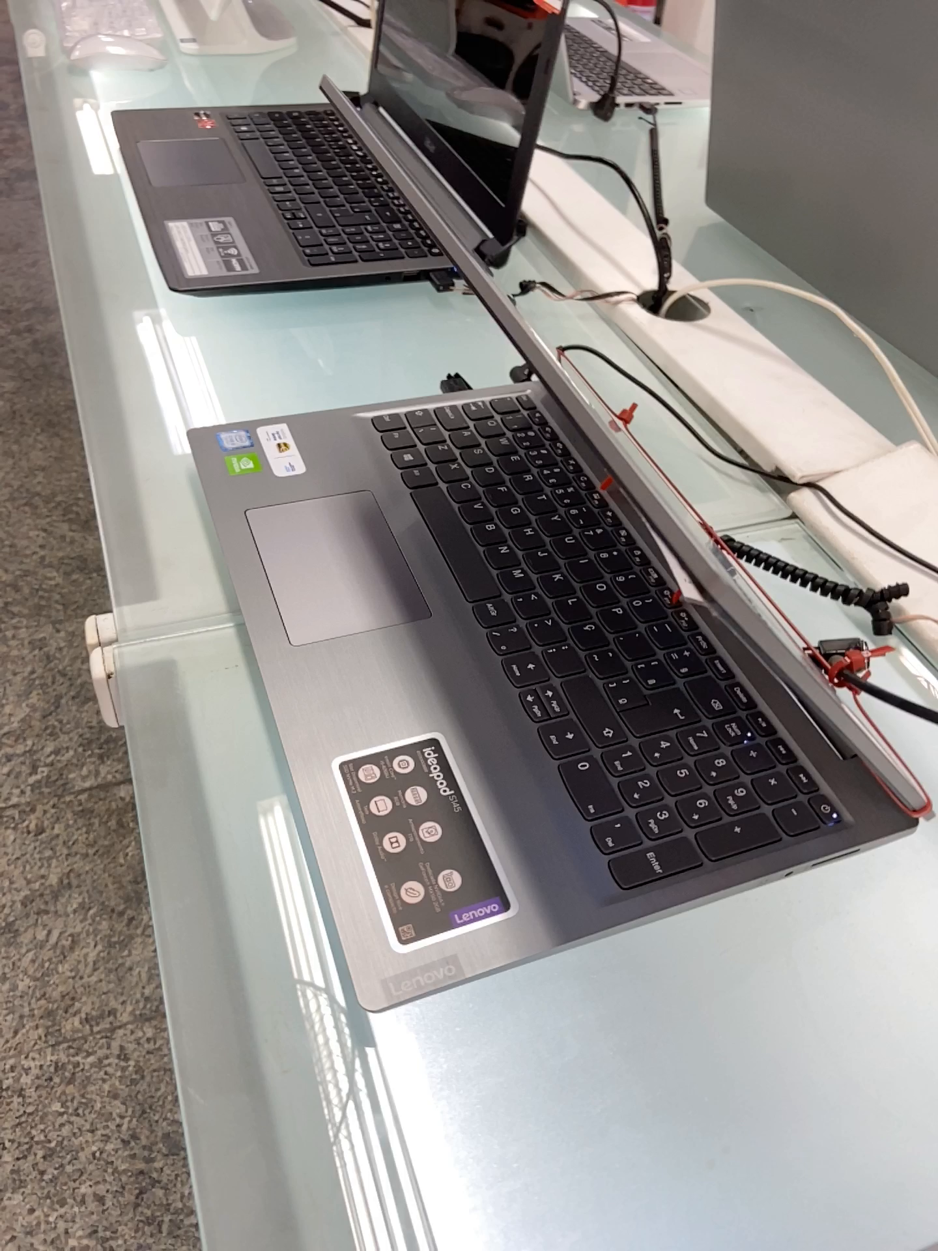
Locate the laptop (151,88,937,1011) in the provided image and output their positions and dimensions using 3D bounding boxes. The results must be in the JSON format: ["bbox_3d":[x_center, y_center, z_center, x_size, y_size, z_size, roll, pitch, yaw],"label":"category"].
[{"bbox_3d":[0.022,-0.078,0.428,0.244,0.175,0.361,-12,47,-18],"label":"laptop"}]
